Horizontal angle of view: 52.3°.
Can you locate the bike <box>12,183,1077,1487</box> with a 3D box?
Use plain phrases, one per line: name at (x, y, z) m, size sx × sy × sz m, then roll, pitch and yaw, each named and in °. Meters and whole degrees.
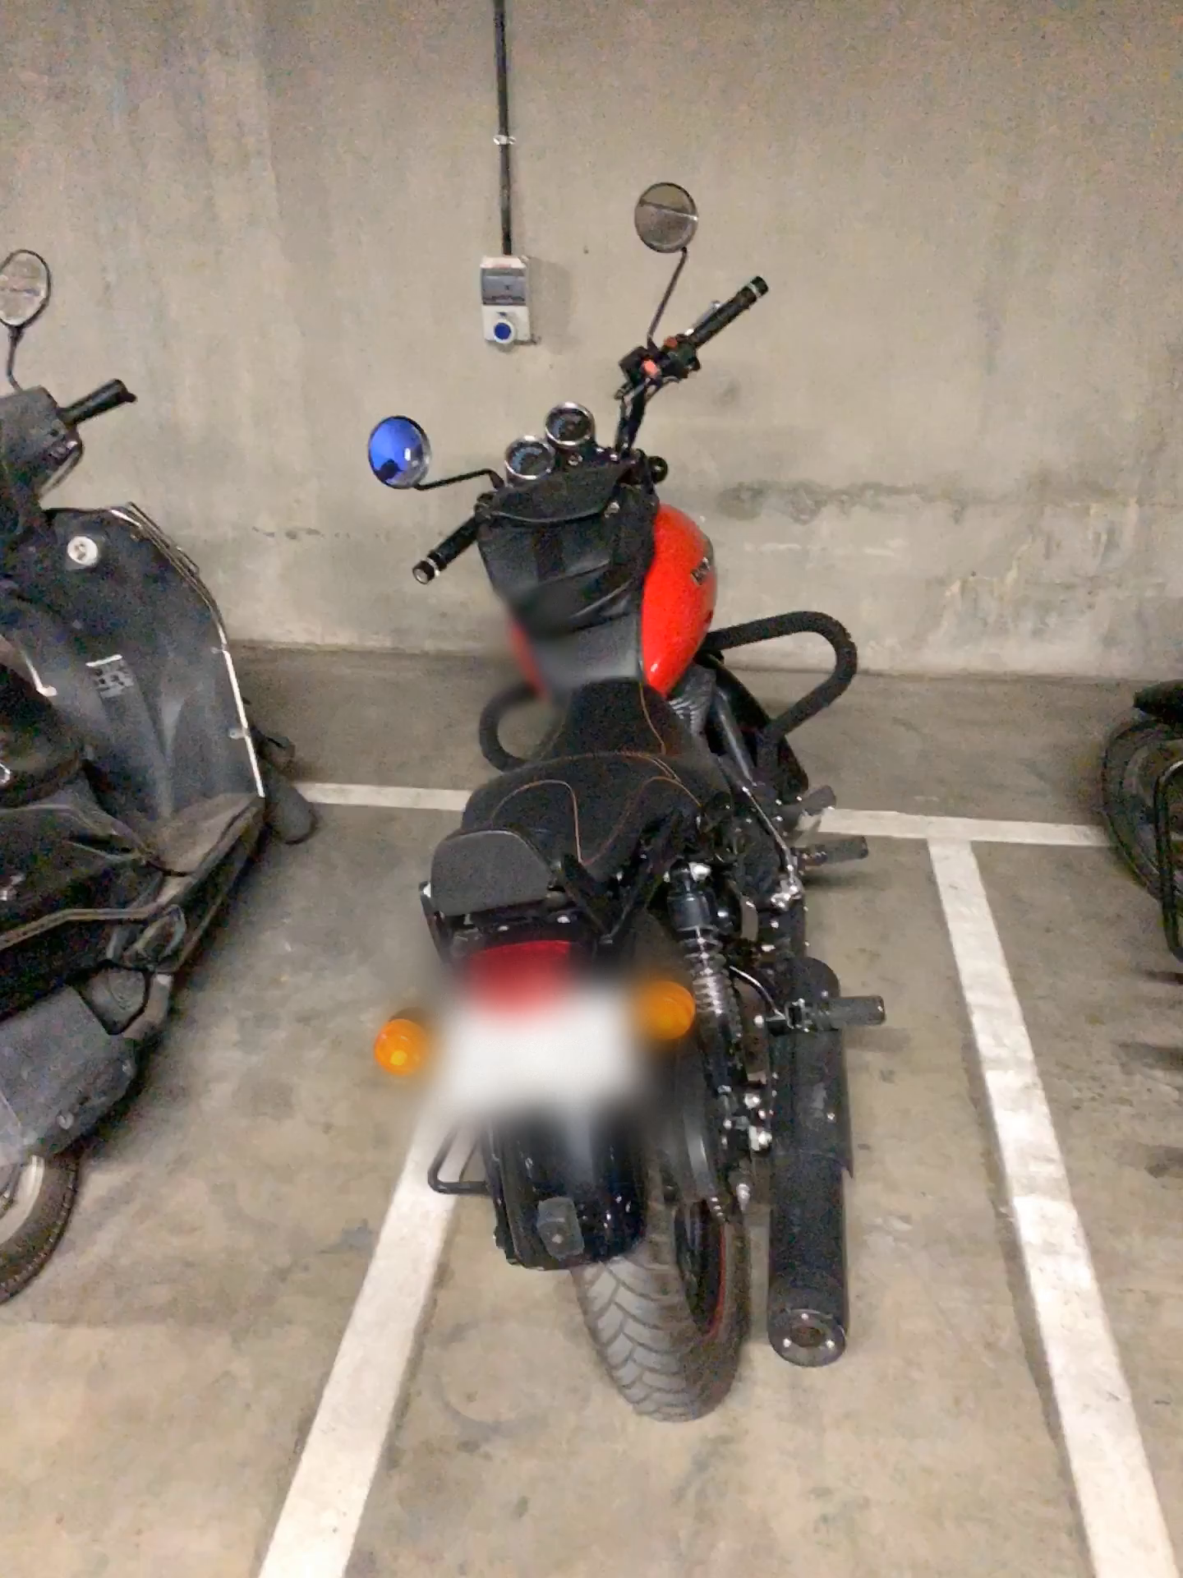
bike at (-0.092, -0.181, 2.017) m, size 0.828 × 1.302 × 1.844 m, roll -2°, pitch 31°, yaw -2°
